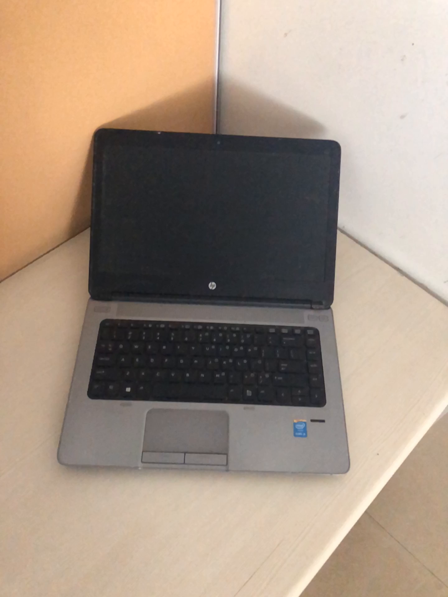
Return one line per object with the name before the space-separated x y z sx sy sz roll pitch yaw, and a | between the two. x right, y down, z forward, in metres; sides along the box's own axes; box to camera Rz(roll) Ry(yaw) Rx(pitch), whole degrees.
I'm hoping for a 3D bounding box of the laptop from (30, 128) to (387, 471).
laptop | -0.007 -0.018 0.595 0.316 0.125 0.392 3 56 -1
